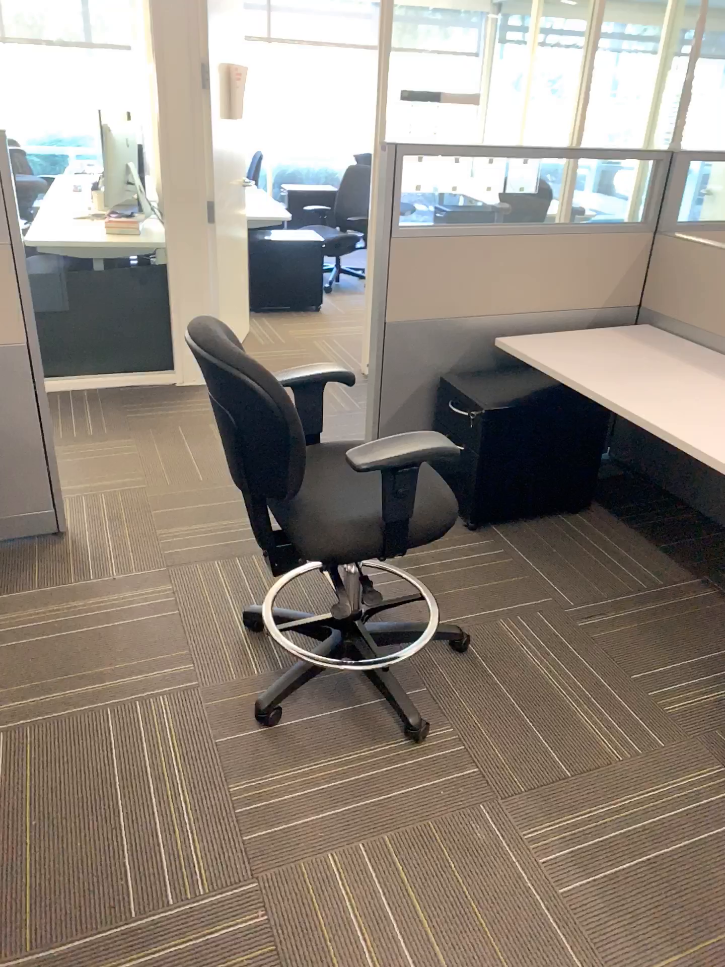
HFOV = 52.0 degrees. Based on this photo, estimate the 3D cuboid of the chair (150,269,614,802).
[{"bbox_3d":[-0.034,0.047,1.956,0.820,1.004,0.805,-9,30,-22],"label":"chair"}]
